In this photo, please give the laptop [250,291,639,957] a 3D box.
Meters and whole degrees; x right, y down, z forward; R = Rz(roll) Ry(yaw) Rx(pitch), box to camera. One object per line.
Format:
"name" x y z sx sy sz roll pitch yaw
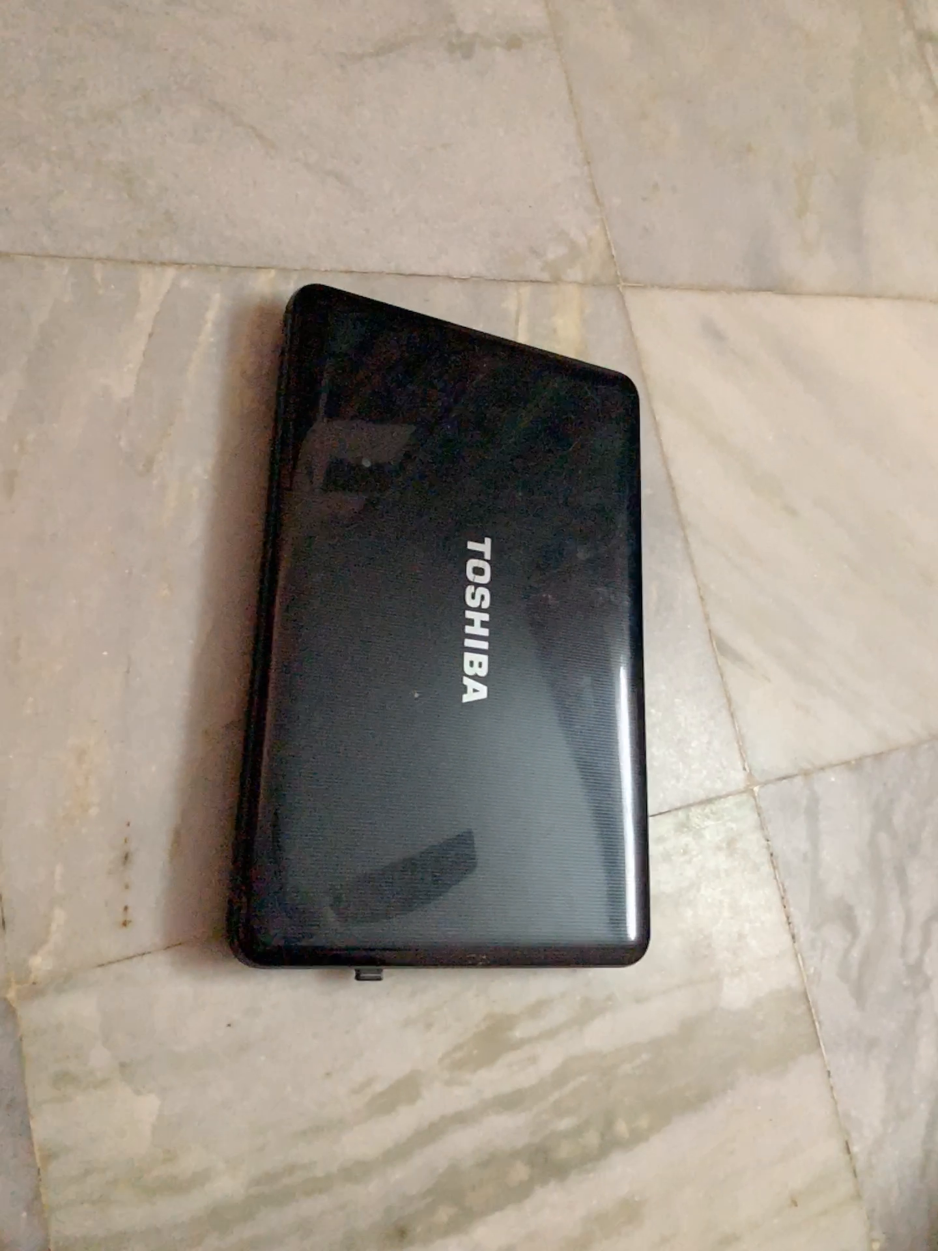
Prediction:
"laptop" 0.002 -0.001 0.542 0.222 0.003 0.355 9 74 -25
